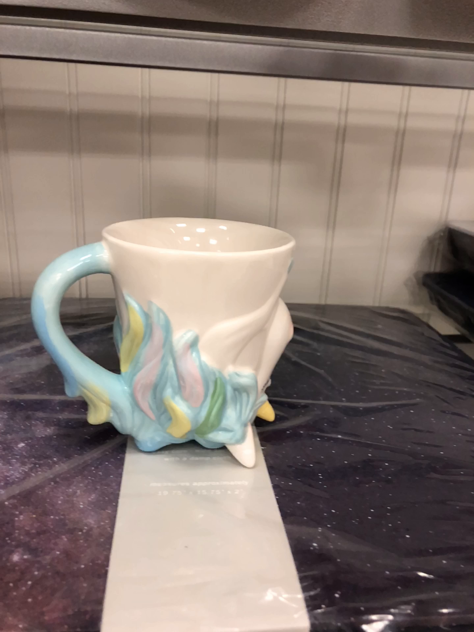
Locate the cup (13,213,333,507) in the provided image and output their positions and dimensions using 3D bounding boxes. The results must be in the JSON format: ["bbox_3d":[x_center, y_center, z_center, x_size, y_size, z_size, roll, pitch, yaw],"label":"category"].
[{"bbox_3d":[-0.039,0.011,0.292,0.140,0.118,0.101,-4,21,-18],"label":"cup"}]
